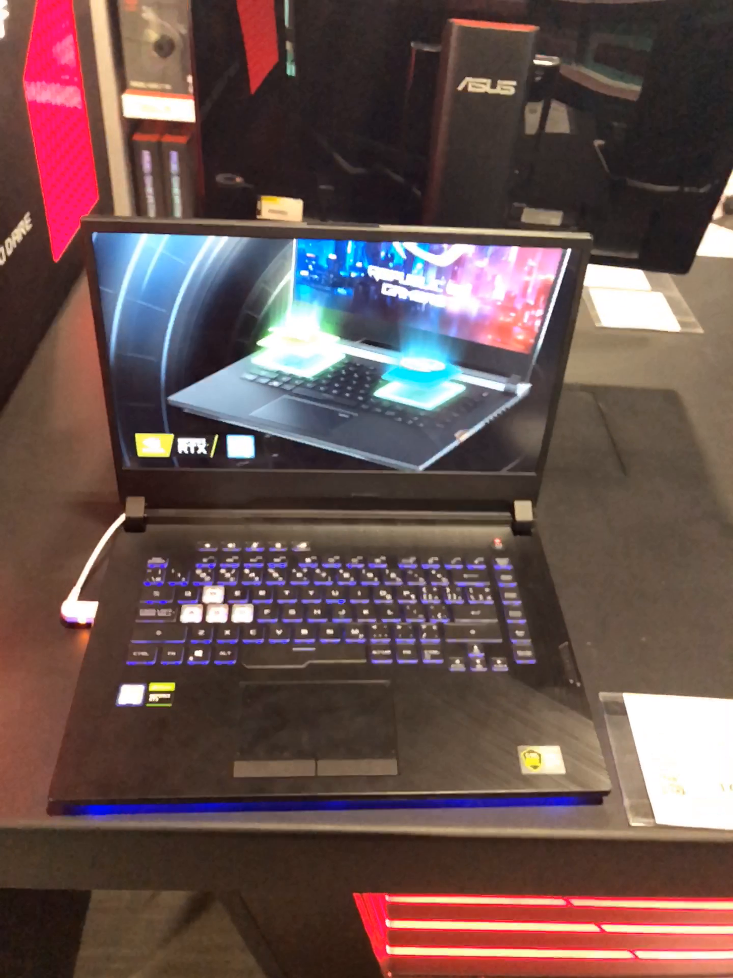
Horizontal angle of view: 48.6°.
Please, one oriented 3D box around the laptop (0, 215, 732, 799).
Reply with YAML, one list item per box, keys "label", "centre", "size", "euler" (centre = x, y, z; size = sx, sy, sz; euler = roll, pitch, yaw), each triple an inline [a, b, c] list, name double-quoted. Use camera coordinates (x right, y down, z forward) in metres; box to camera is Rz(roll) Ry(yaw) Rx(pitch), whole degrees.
- label: "laptop"
  centre: [-0.016, 0.010, 0.551]
  size: [0.360, 0.268, 0.276]
  euler: [1, 41, -5]
